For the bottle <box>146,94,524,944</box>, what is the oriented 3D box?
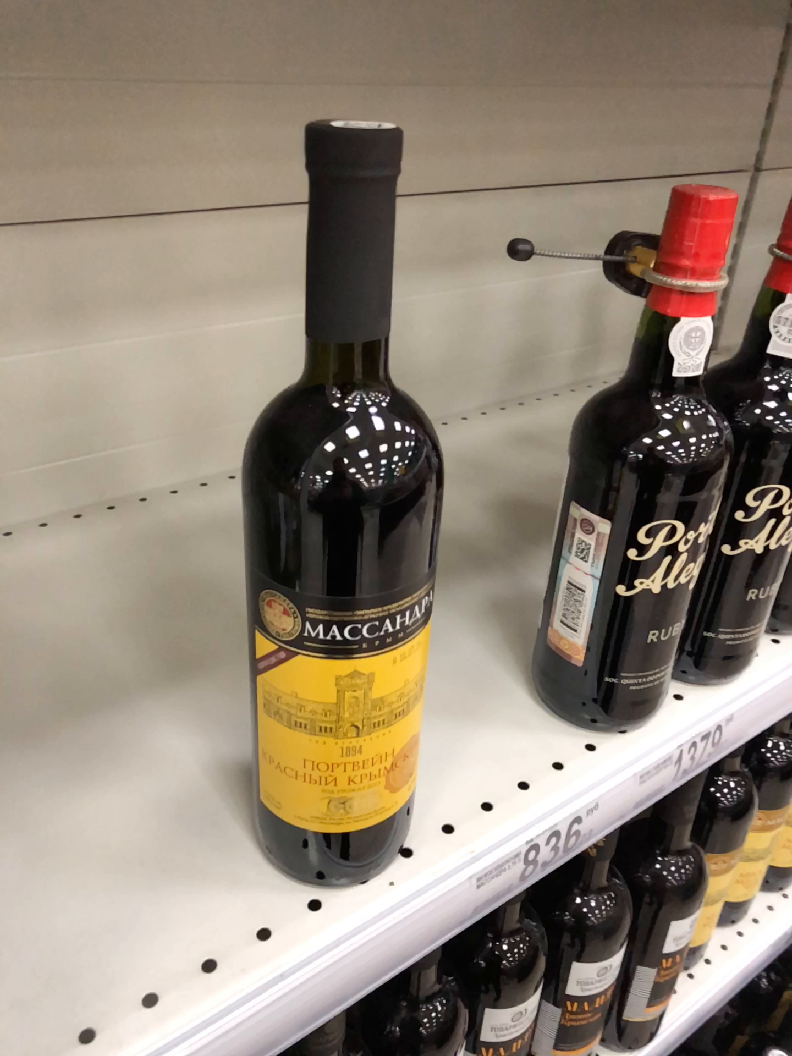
[{"bbox_3d":[-0.034,0.011,0.378,0.100,0.348,0.100,2,30,-1],"label":"bottle"}]
